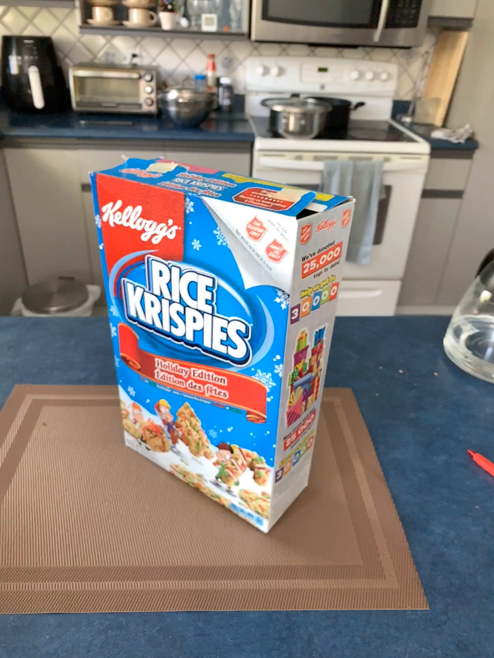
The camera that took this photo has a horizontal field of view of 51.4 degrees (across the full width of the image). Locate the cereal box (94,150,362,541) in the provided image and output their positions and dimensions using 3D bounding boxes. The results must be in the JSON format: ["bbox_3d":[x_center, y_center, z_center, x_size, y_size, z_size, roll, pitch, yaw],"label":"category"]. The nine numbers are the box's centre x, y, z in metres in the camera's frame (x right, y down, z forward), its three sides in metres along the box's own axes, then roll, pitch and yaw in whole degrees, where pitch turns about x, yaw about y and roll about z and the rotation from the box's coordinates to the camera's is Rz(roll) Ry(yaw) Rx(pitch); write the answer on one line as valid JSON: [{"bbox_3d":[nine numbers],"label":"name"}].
[{"bbox_3d":[-0.031,0.015,0.509,0.221,0.327,0.080,21,33,28],"label":"cereal box"}]
